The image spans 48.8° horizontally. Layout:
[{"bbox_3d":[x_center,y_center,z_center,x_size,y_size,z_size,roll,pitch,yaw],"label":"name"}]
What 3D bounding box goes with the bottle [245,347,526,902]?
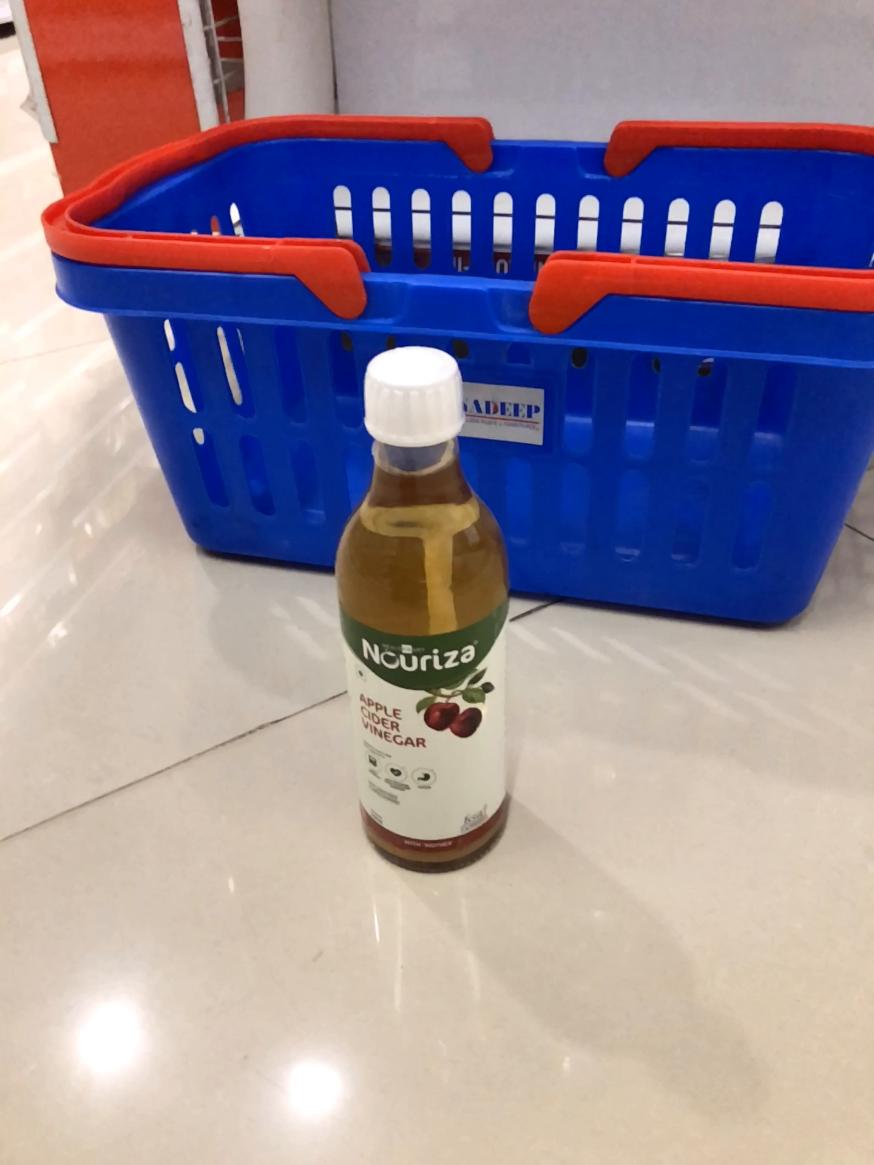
[{"bbox_3d":[-0.011,0.025,0.389,0.080,0.219,0.070,6,36,11],"label":"bottle"}]
